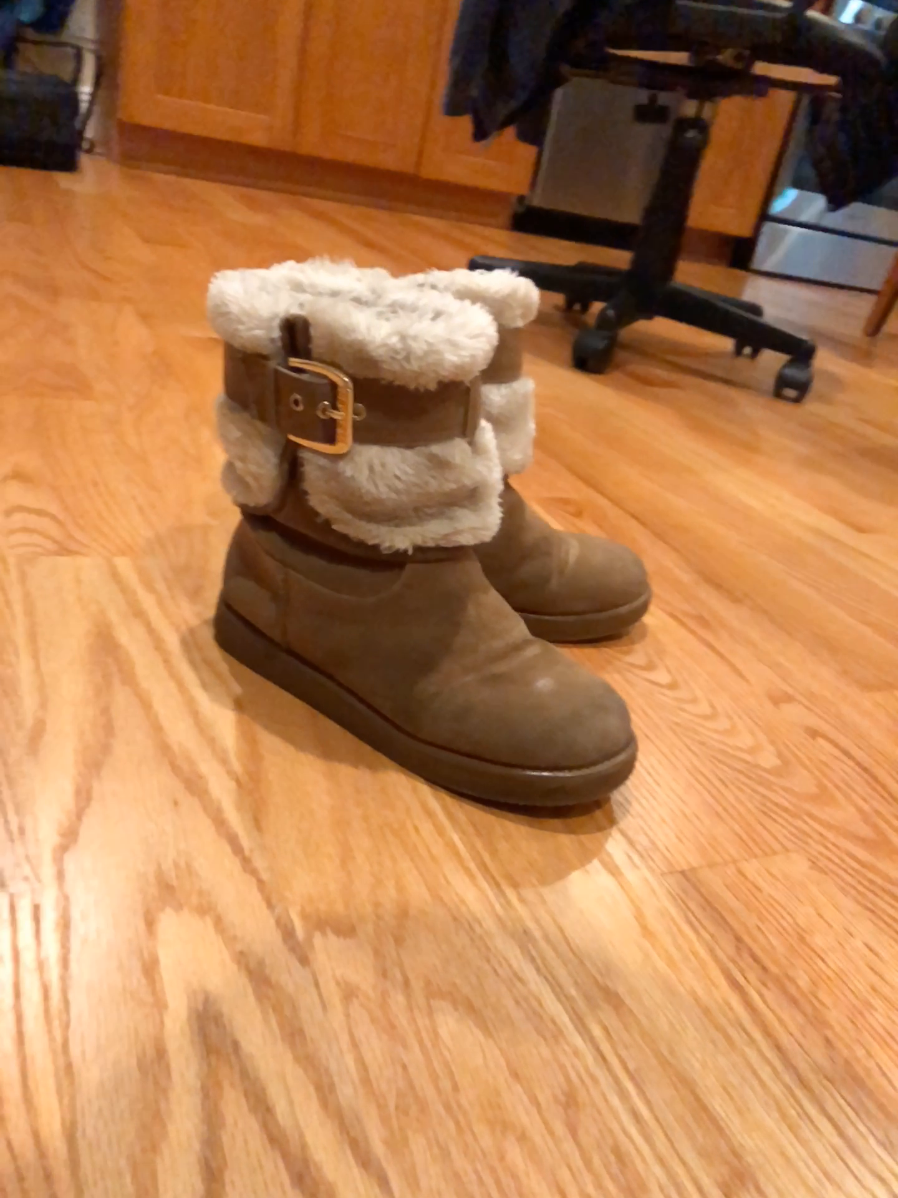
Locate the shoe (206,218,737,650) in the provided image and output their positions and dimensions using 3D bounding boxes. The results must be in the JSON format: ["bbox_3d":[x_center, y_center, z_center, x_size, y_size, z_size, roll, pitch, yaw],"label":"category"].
[{"bbox_3d":[-0.001,-0.089,0.570,0.254,0.193,0.113,4,26,-16],"label":"shoe"}]

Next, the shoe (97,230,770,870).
[{"bbox_3d":[-0.021,-0.038,0.446,0.254,0.193,0.107,22,26,21],"label":"shoe"}]
